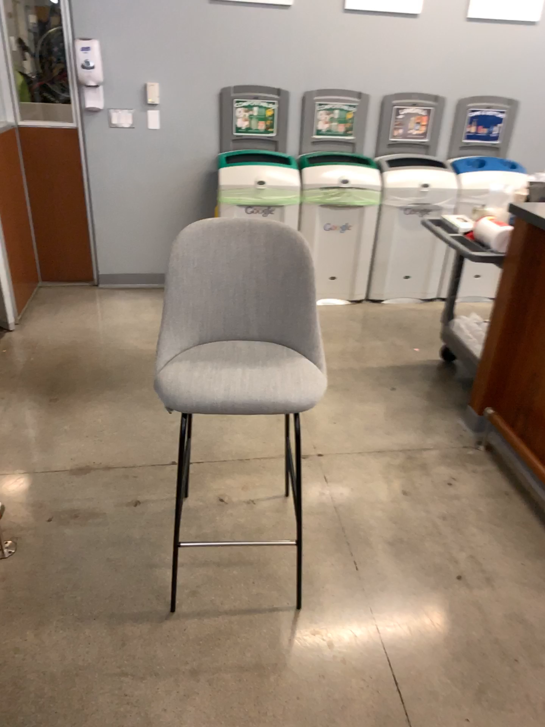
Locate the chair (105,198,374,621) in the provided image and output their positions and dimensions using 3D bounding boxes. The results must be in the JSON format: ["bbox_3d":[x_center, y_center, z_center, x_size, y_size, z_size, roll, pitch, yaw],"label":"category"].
[{"bbox_3d":[-0.124,0.112,1.833,0.590,1.094,0.815,0,28,-5],"label":"chair"}]
